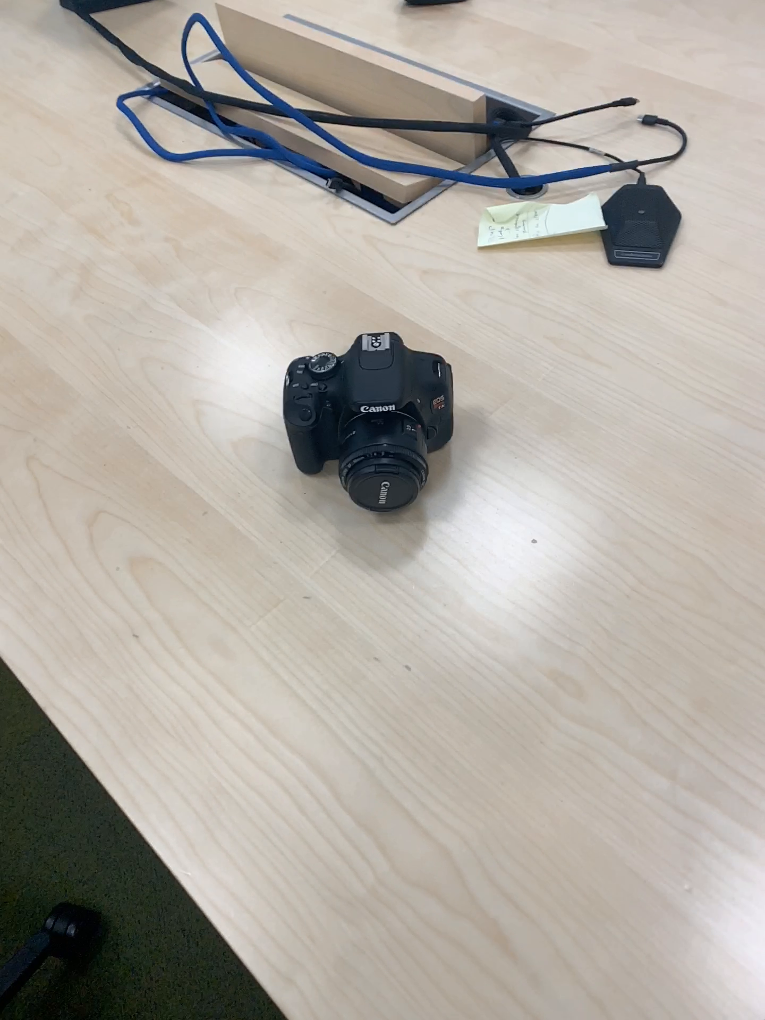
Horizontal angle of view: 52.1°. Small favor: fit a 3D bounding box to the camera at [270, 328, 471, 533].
[{"bbox_3d":[-0.008,-0.063,0.614,0.140,0.080,0.132,-4,52,2],"label":"camera"}]
